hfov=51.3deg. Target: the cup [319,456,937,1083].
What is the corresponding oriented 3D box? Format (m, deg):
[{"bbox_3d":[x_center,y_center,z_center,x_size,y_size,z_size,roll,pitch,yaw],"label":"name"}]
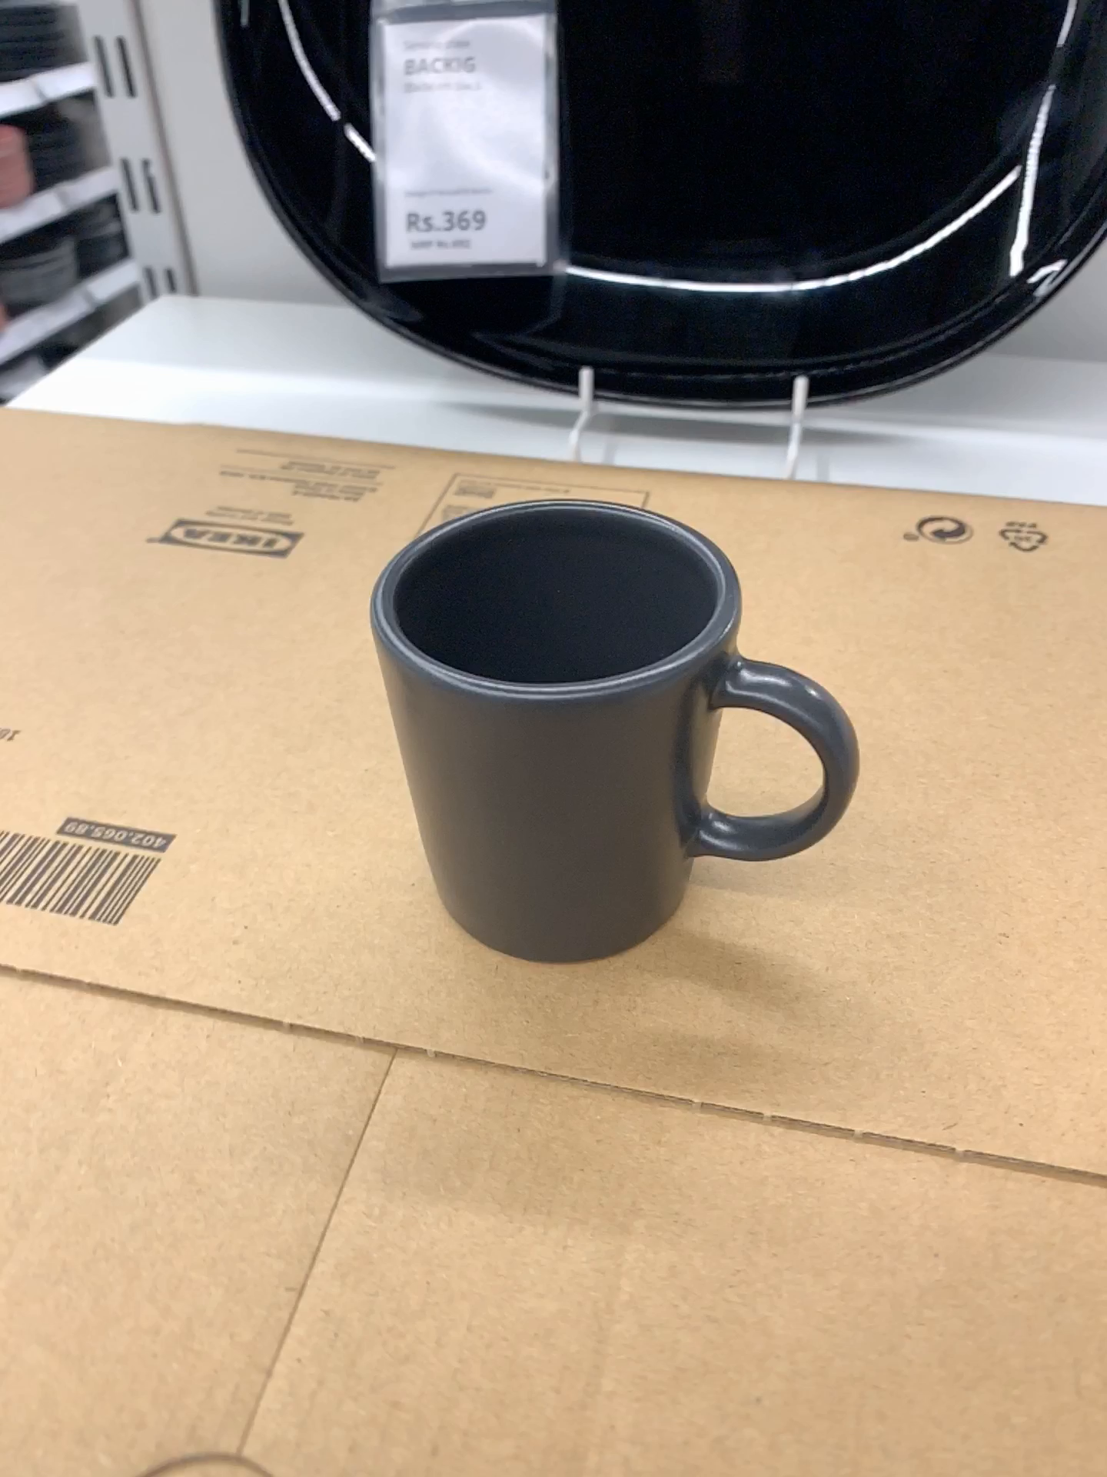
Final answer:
[{"bbox_3d":[0.014,0.002,0.200,0.080,0.070,0.060,14,39,18],"label":"cup"}]
